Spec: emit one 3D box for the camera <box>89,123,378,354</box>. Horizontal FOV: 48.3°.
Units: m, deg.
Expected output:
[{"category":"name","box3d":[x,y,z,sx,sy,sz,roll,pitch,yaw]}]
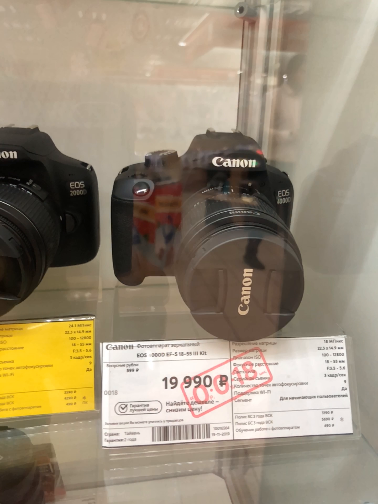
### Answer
[{"category":"camera","box3d":[0.010,-0.024,0.259,0.125,0.100,0.147,-1,18,-8]}]
